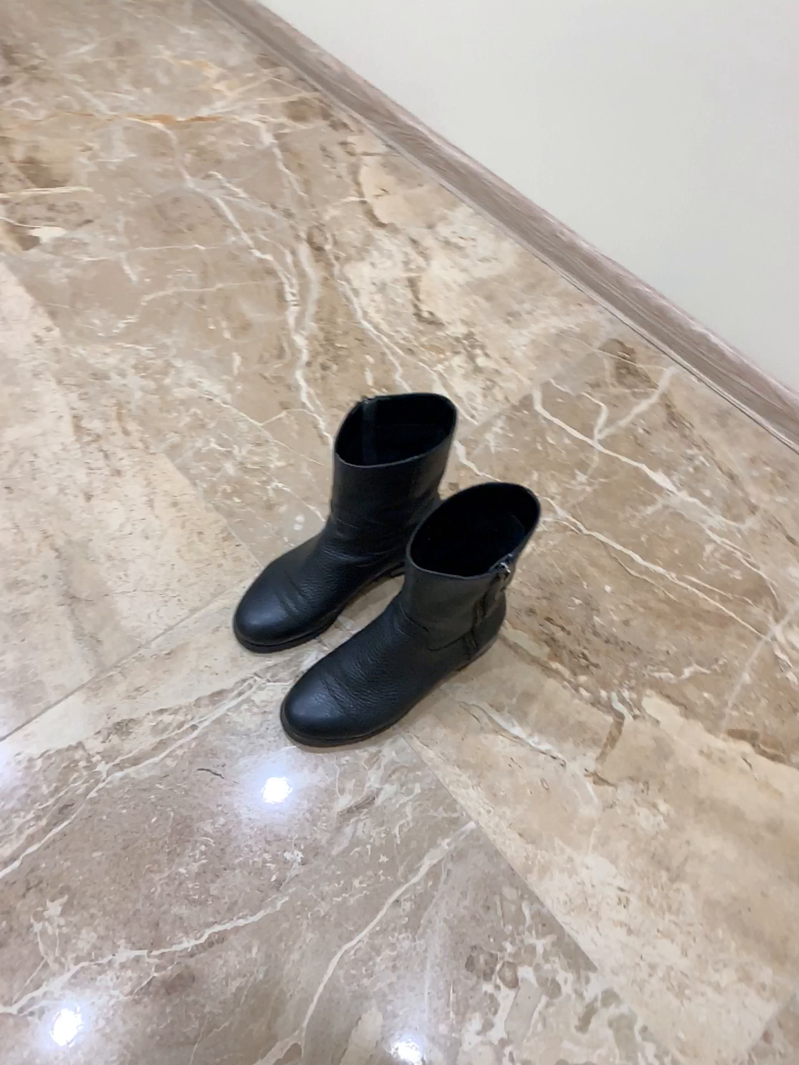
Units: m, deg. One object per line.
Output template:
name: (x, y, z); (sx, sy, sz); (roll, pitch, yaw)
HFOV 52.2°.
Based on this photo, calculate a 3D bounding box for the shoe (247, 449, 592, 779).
shoe: (0.016, 0.077, 0.714); (0.260, 0.209, 0.090); (-29, 64, -19)

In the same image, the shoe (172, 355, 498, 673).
shoe: (-0.053, -0.012, 0.761); (0.260, 0.209, 0.090); (-29, 64, -19)
